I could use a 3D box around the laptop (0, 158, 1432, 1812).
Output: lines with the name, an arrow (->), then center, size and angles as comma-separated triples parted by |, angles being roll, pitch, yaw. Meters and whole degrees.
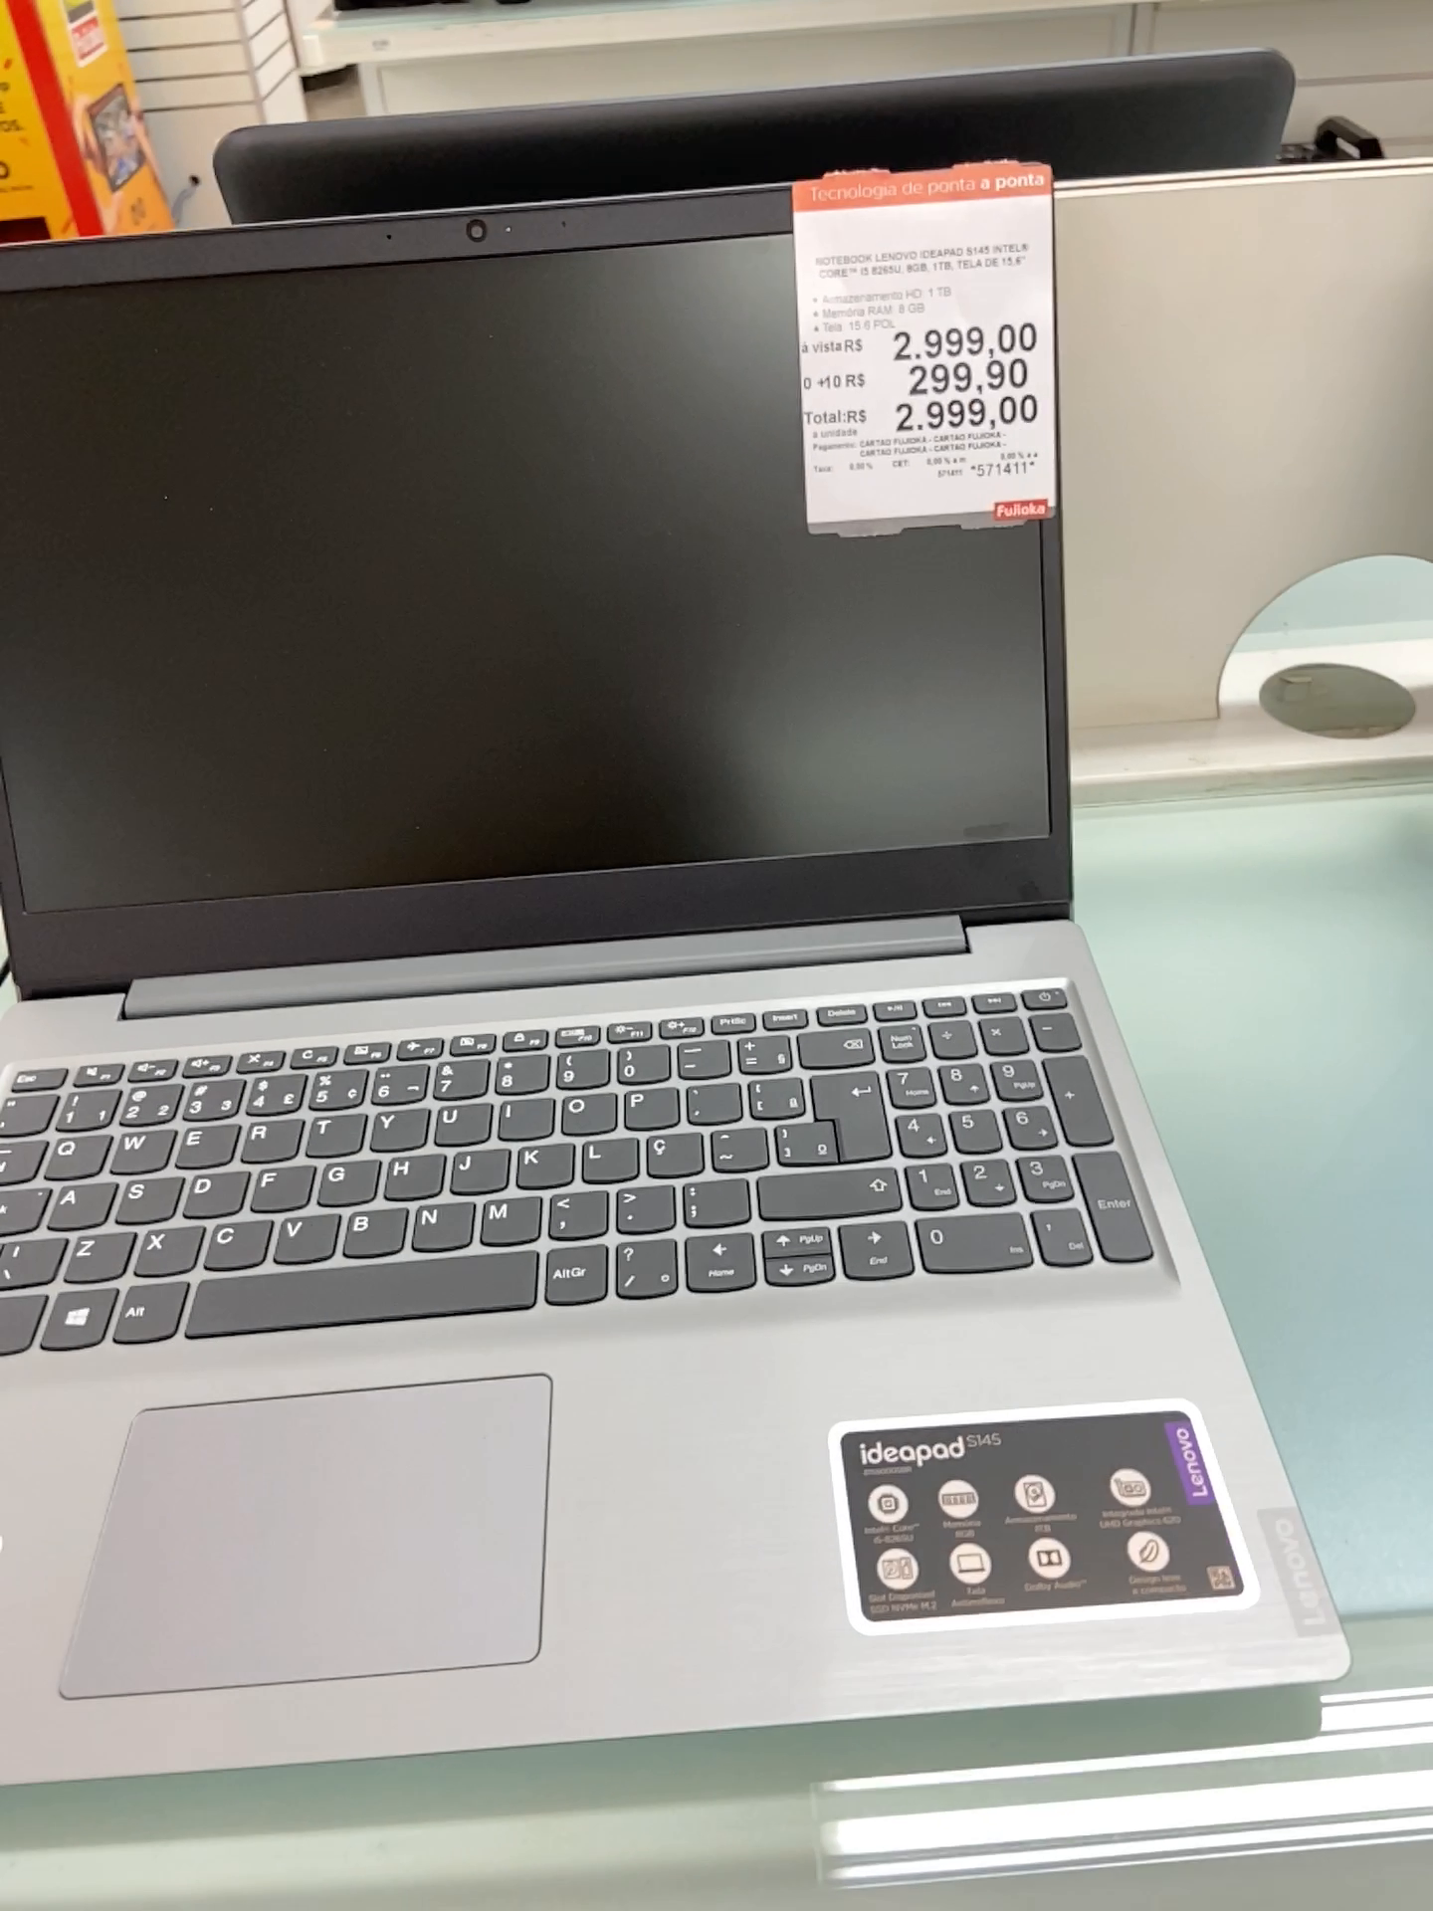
laptop -> -0.064, -0.036, 0.376 | 0.353, 0.195, 0.371 | -5, 41, 0
